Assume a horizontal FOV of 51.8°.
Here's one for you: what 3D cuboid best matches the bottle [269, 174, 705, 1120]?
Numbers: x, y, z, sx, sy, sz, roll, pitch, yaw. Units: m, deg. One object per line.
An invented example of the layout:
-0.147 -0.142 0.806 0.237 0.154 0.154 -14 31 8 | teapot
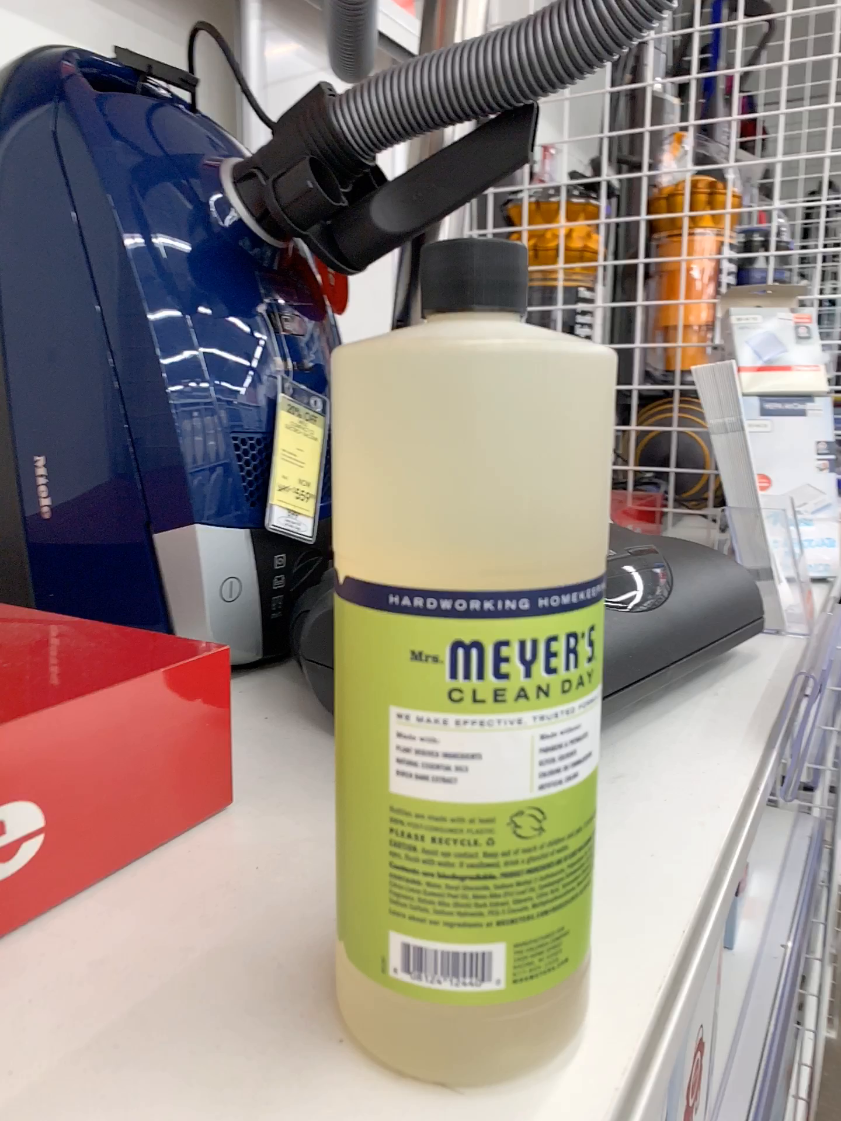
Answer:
0.013 0.025 0.264 0.090 0.239 0.090 0 10 0 | bottle
